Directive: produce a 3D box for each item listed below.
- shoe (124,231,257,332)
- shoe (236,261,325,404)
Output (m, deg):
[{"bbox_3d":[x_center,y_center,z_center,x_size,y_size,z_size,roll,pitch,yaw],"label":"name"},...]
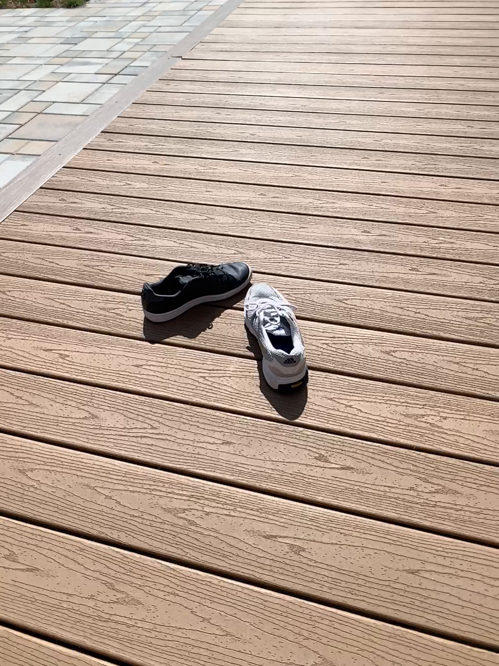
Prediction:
[{"bbox_3d":[-0.126,-0.120,1.134,0.260,0.100,0.111,-23,47,-18],"label":"shoe"},{"bbox_3d":[0.055,-0.009,1.026,0.110,0.119,0.271,-10,44,-6],"label":"shoe"}]
